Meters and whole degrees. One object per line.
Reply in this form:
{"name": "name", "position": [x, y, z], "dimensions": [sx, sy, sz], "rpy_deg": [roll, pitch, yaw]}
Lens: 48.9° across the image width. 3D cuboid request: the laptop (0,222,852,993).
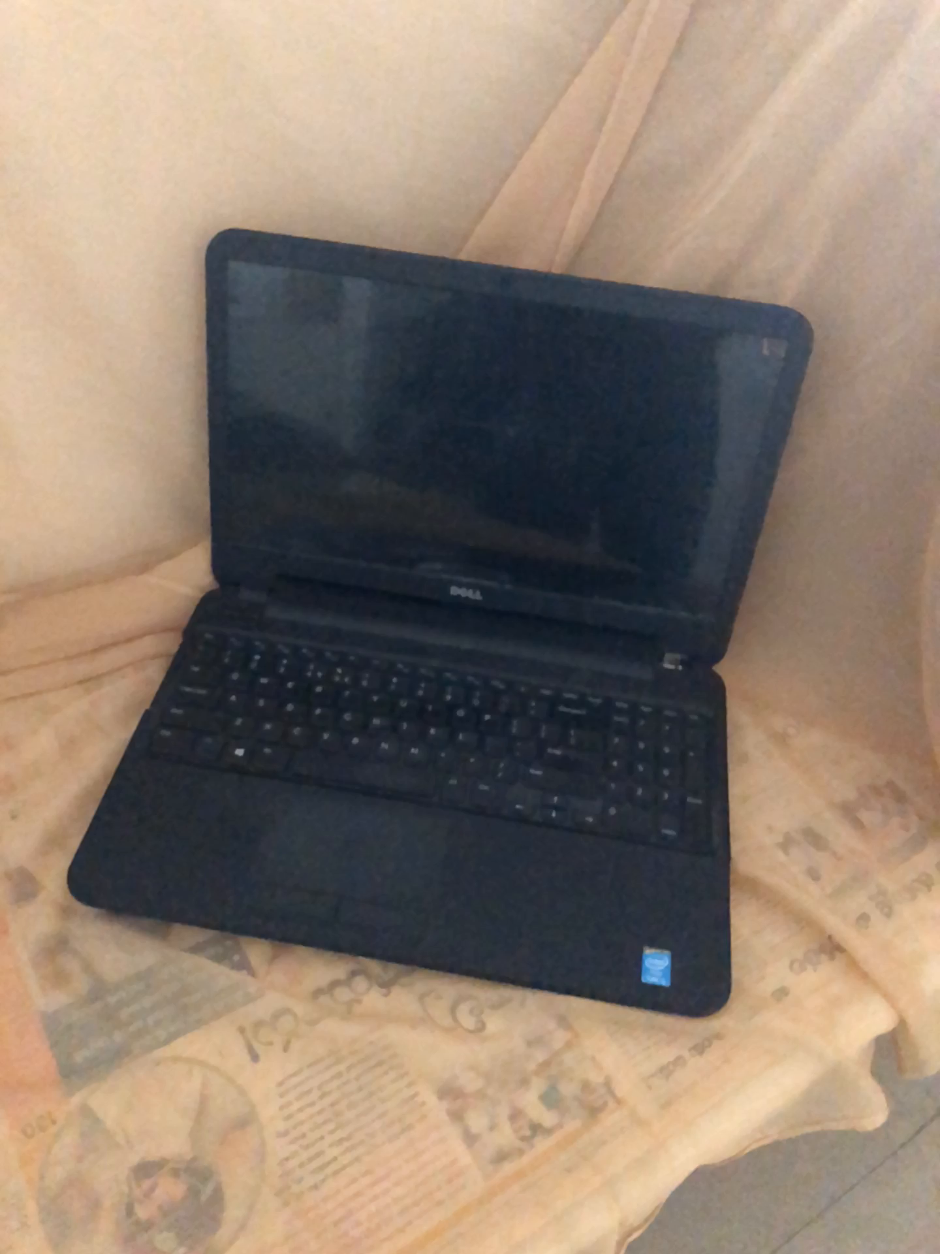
{"name": "laptop", "position": [-0.011, -0.026, 0.585], "dimensions": [0.348, 0.225, 0.307], "rpy_deg": [10, 45, 3]}
